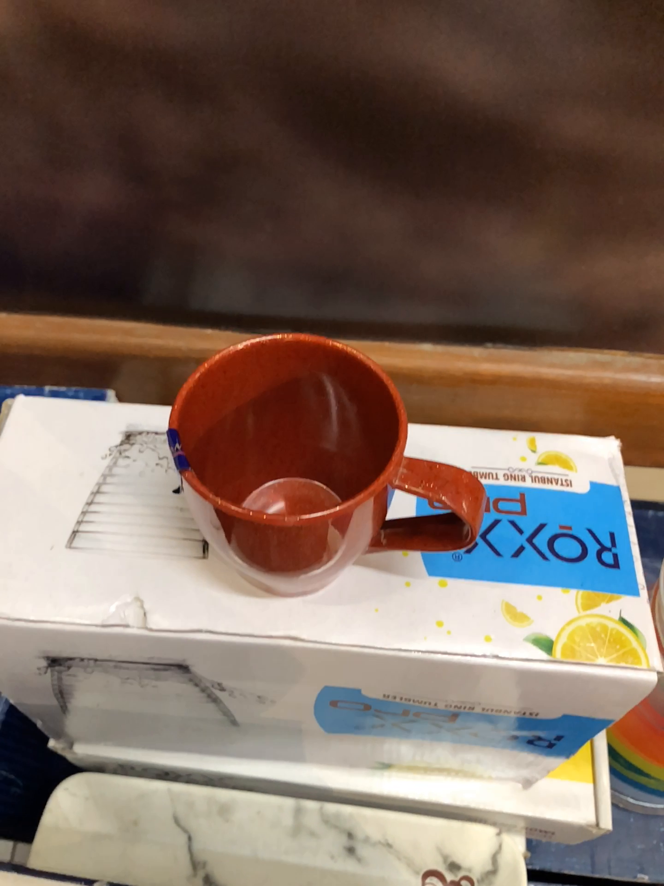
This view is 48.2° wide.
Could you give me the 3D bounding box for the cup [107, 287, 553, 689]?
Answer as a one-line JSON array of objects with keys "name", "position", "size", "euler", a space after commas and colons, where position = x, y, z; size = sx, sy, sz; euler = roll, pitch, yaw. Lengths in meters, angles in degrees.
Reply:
[{"name": "cup", "position": [0.003, 0.012, 0.222], "size": [0.100, 0.070, 0.070], "euler": [14, 53, 12]}]
